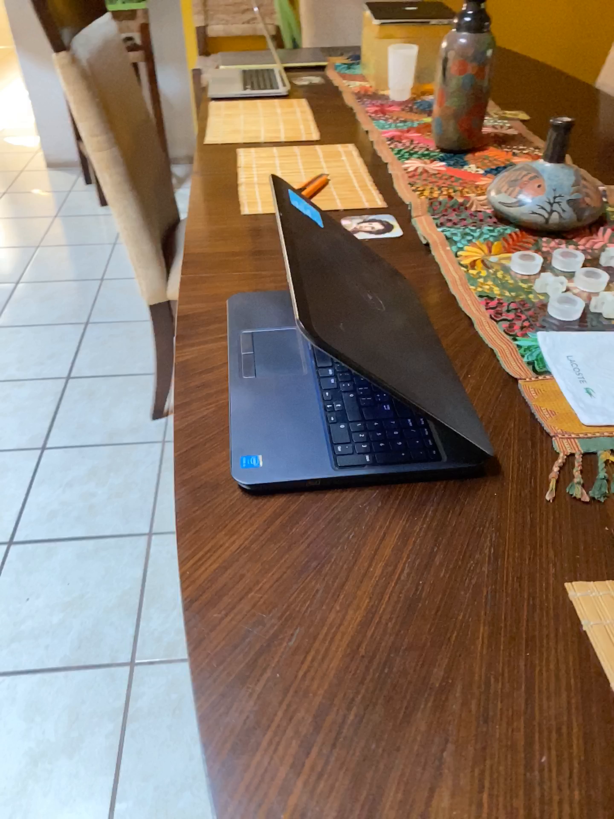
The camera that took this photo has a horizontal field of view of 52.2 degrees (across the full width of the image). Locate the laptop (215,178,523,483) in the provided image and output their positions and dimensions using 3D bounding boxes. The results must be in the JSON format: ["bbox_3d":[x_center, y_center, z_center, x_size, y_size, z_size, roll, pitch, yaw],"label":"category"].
[{"bbox_3d":[0.031,-0.110,0.690,0.248,0.158,0.358,-4,39,-5],"label":"laptop"}]

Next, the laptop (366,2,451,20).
[{"bbox_3d":[0.281,-1.132,1.776,0.201,0.001,0.294,-1,41,-4],"label":"laptop"}]

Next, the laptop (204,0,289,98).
[{"bbox_3d":[-0.182,-1.087,1.854,0.221,0.207,0.373,-5,39,-5],"label":"laptop"}]
